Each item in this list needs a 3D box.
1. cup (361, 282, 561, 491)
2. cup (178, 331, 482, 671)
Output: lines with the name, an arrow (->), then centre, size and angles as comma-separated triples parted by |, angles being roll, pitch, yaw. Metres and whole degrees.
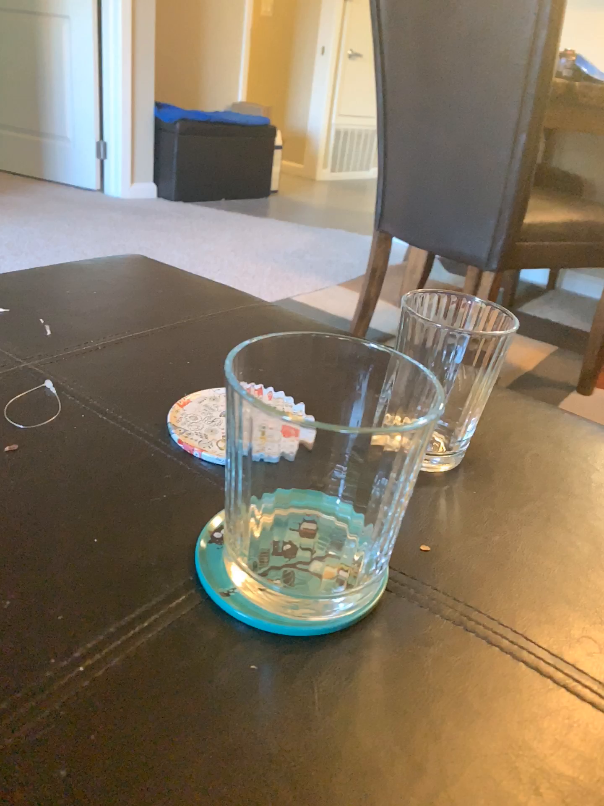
cup -> 0.084, -0.013, 0.349 | 0.060, 0.089, 0.070 | -7, 30, -27
cup -> 0.003, 0.031, 0.246 | 0.080, 0.089, 0.080 | 6, 27, -3
